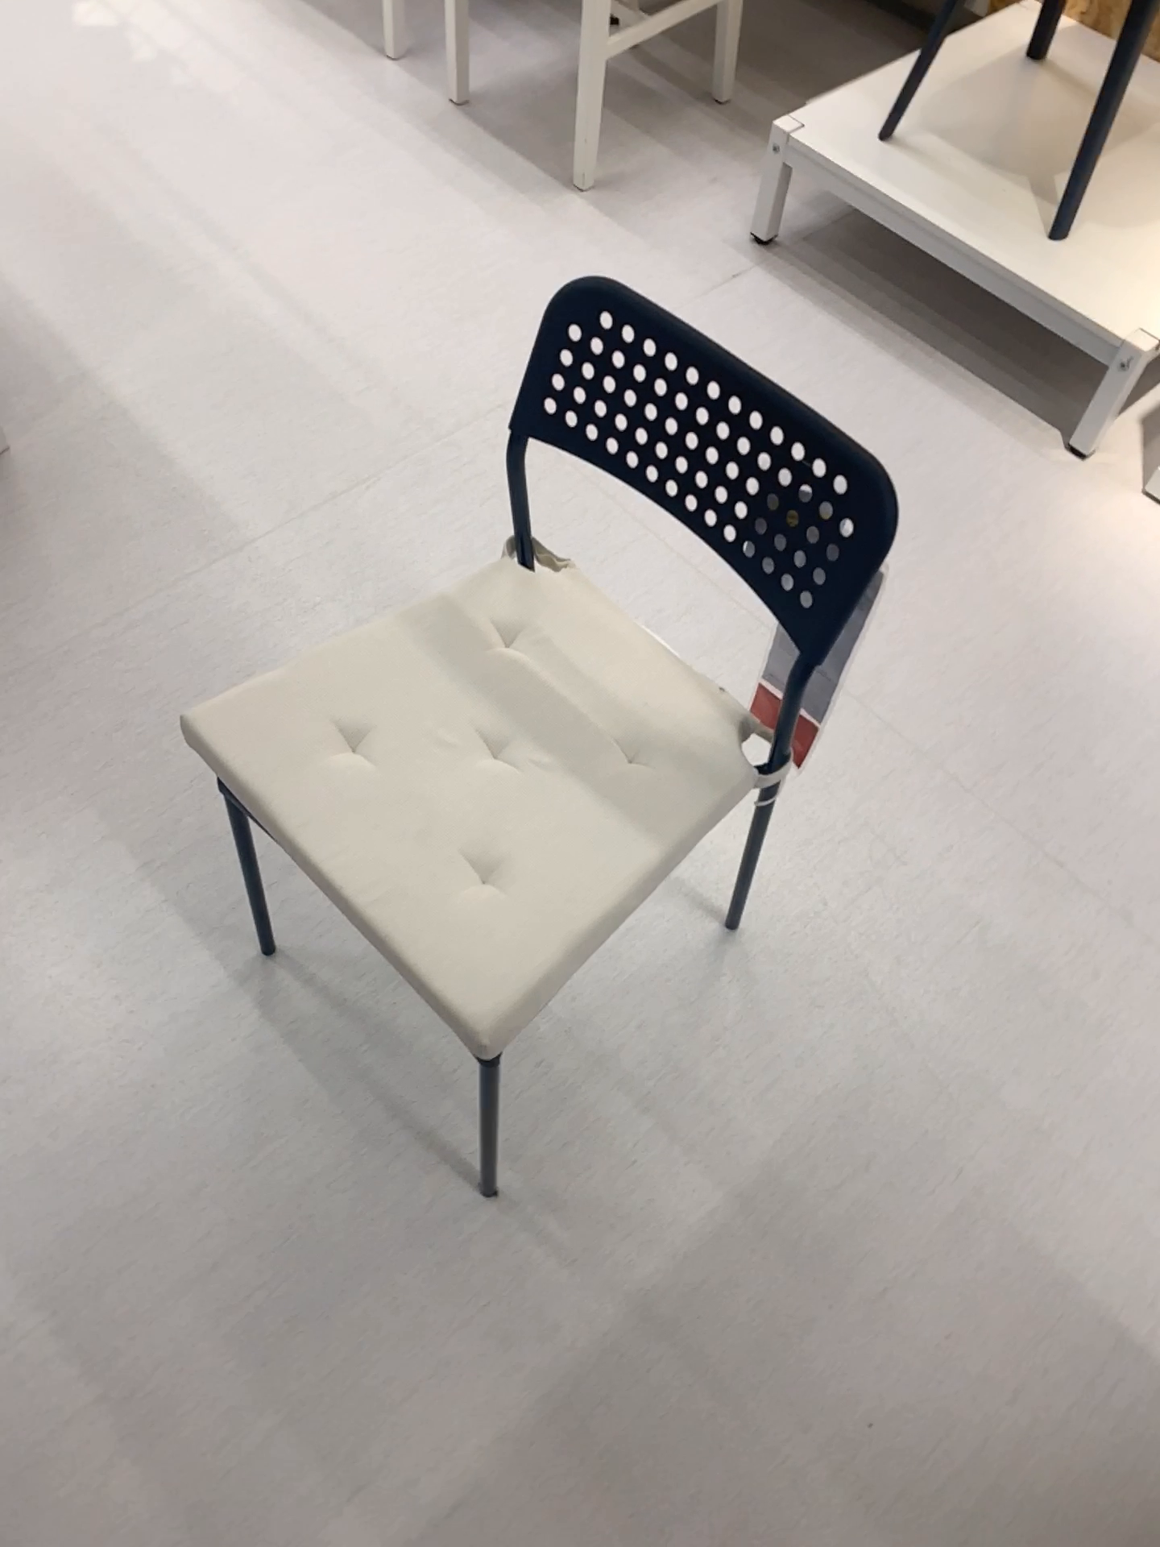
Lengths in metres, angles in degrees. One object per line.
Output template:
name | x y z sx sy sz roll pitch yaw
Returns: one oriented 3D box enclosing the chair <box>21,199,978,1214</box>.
chair | -0.071 -0.005 1.138 0.490 0.758 0.451 -38 67 -24
